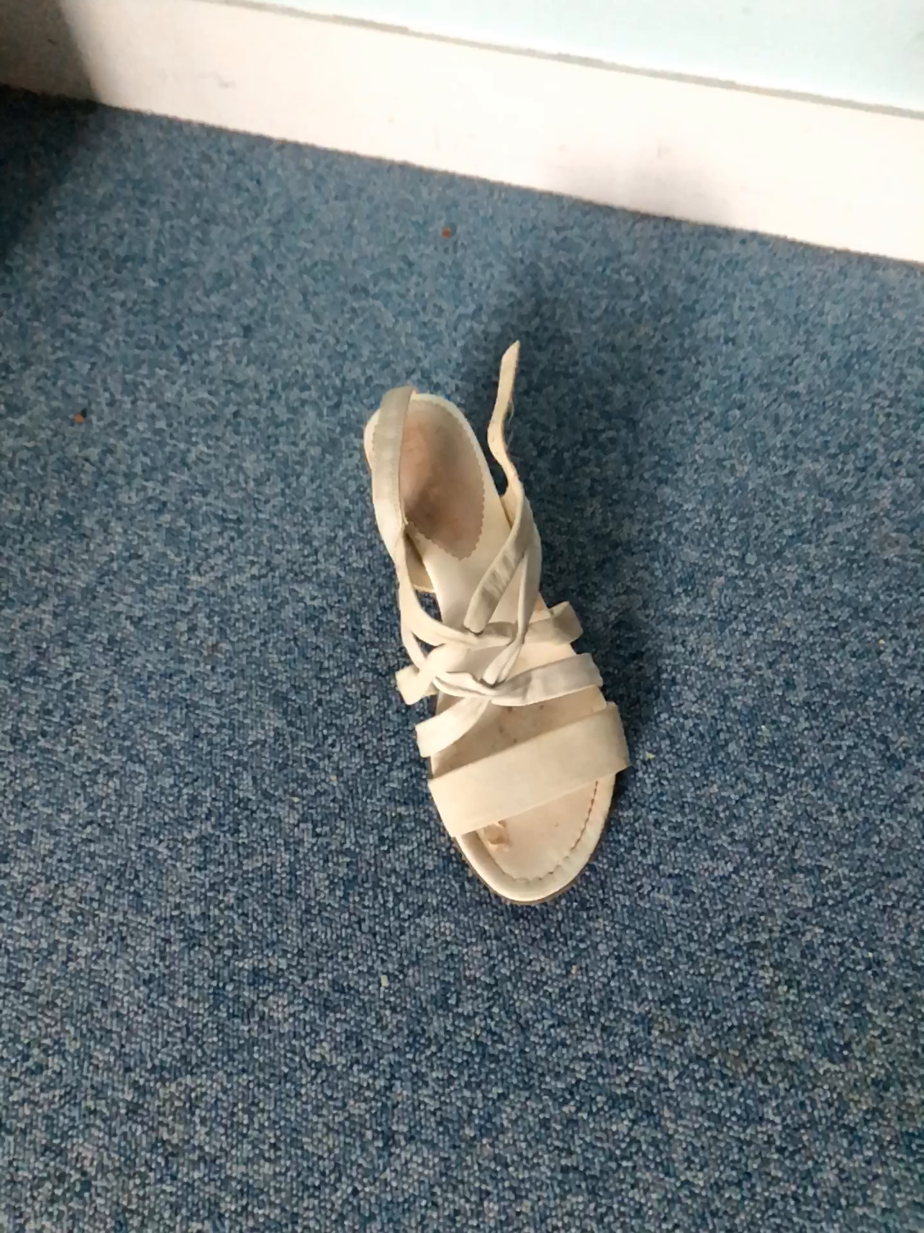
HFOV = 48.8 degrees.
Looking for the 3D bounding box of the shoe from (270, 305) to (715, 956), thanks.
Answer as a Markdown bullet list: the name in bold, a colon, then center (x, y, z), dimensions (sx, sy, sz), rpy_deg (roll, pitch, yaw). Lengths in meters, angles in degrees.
- **shoe**: center (0.004, 0.002, 0.440), dimensions (0.100, 0.110, 0.241), rpy_deg (-17, 62, -6)
